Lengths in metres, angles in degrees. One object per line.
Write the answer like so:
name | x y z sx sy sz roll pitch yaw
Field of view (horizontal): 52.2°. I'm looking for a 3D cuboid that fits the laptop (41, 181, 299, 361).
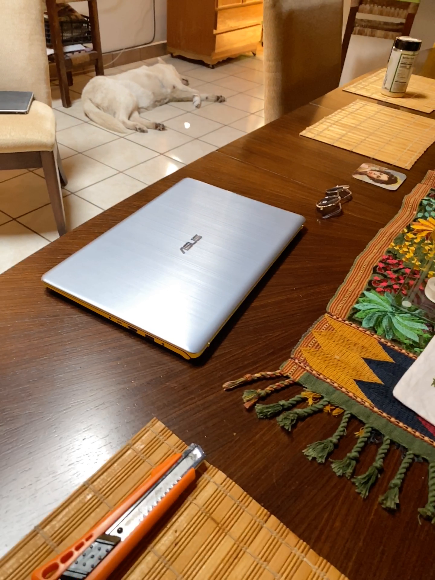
laptop | -0.049 -0.066 0.711 0.246 0.001 0.385 23 43 19
